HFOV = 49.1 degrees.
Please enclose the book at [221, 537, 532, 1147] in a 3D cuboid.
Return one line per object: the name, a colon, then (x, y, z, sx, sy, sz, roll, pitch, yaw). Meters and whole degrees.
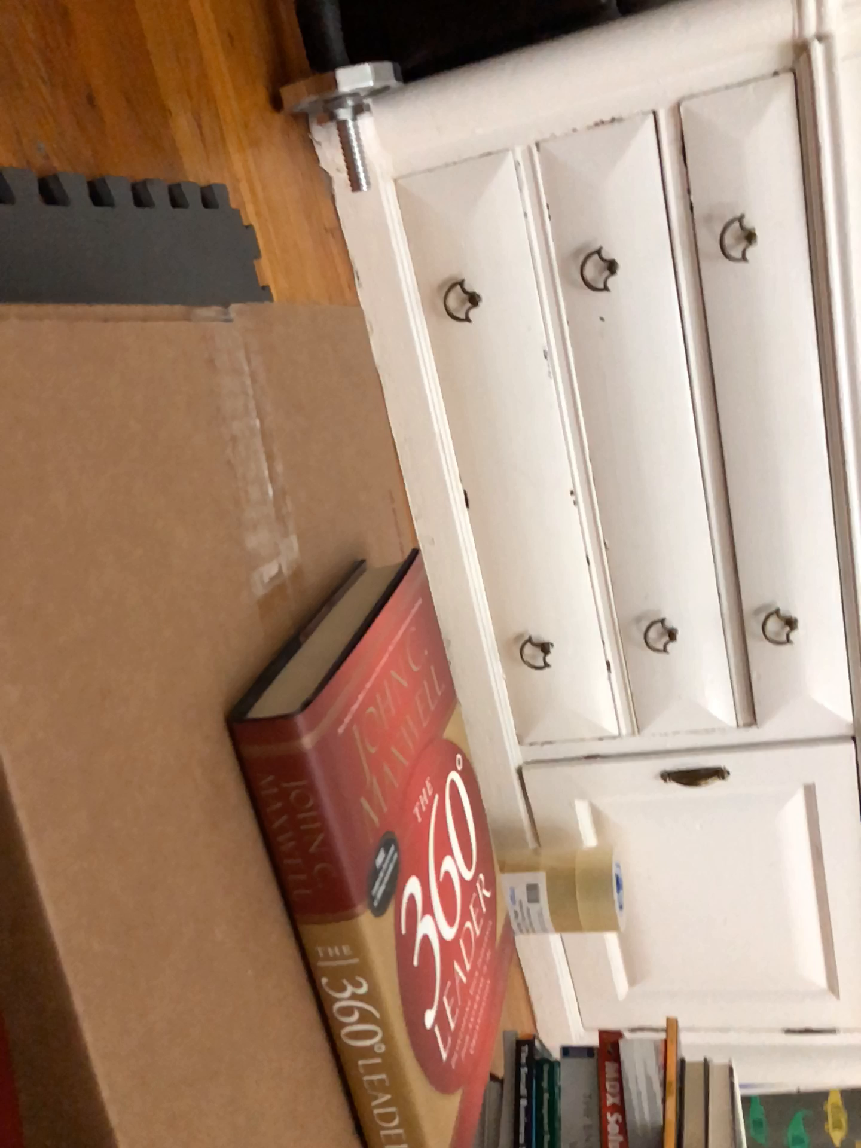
book: (-0.005, 0.127, 0.422, 0.181, 0.030, 0.240, -57, 136, -65)
